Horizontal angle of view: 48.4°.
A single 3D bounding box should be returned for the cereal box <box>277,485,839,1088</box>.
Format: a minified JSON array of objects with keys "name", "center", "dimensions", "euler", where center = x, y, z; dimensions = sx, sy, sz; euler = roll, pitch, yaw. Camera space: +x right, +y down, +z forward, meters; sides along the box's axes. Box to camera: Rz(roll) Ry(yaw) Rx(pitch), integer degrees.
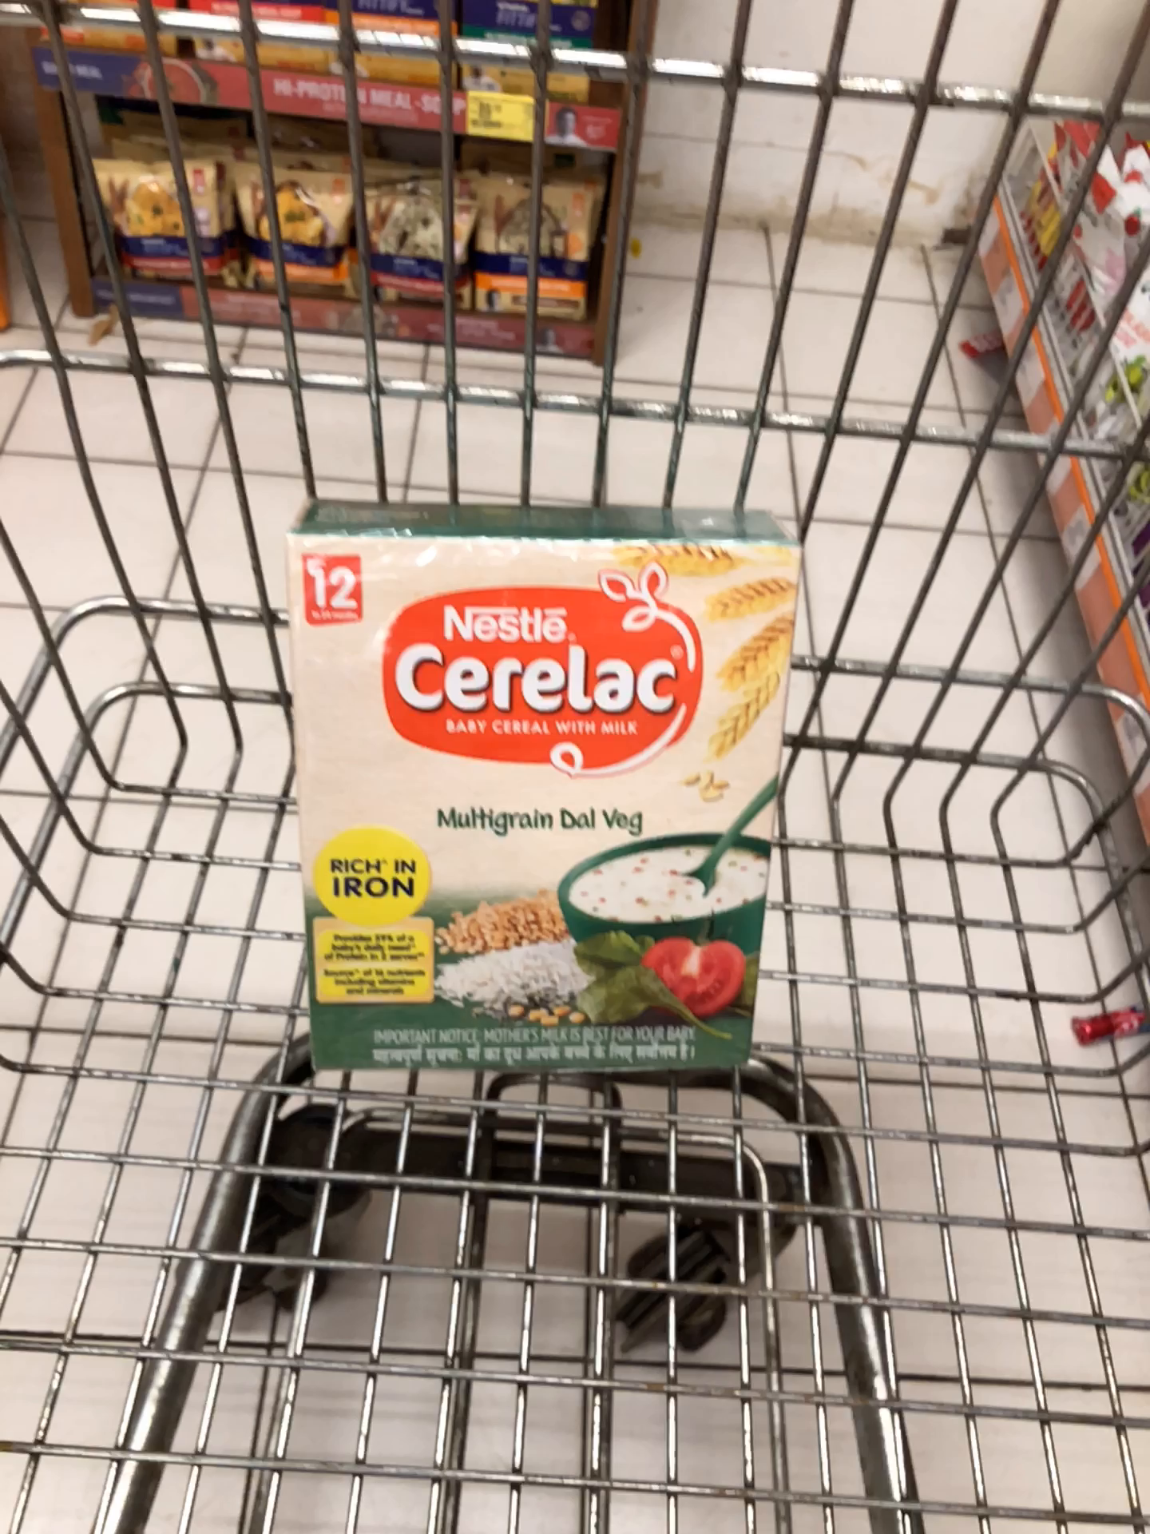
[{"name":"cereal box","center":[-0.009,0.010,0.420],"dimensions":[0.160,0.189,0.050],"euler":[1,22,-5]}]
